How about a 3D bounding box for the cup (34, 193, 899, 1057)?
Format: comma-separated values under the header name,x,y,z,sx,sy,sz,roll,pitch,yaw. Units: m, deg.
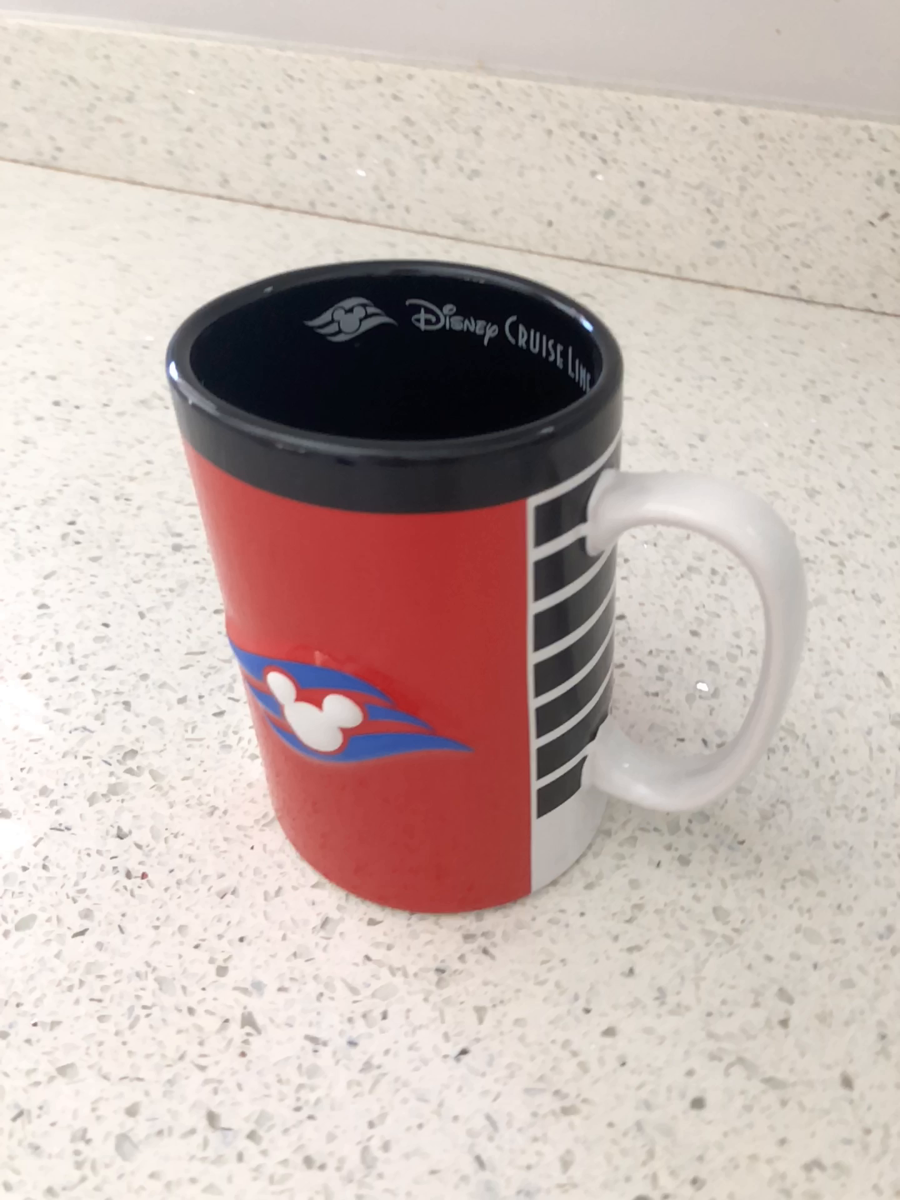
name,x,y,z,sx,sy,sz,roll,pitch,yaw
cup,0.008,-0.004,0.206,0.130,0.110,0.090,21,42,23
